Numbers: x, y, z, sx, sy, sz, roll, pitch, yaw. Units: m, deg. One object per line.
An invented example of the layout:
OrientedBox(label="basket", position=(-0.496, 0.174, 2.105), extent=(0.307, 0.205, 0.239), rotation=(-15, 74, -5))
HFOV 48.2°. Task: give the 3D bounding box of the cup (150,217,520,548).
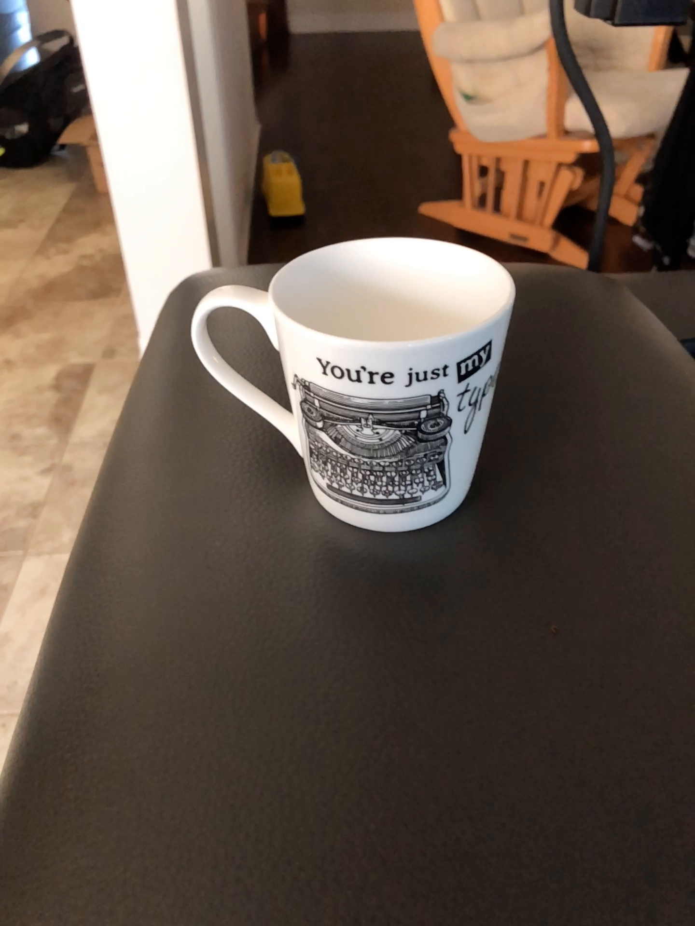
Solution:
OrientedBox(label="cup", position=(0.001, -0.035, 0.305), extent=(0.117, 0.089, 0.081), rotation=(7, 39, 10))
